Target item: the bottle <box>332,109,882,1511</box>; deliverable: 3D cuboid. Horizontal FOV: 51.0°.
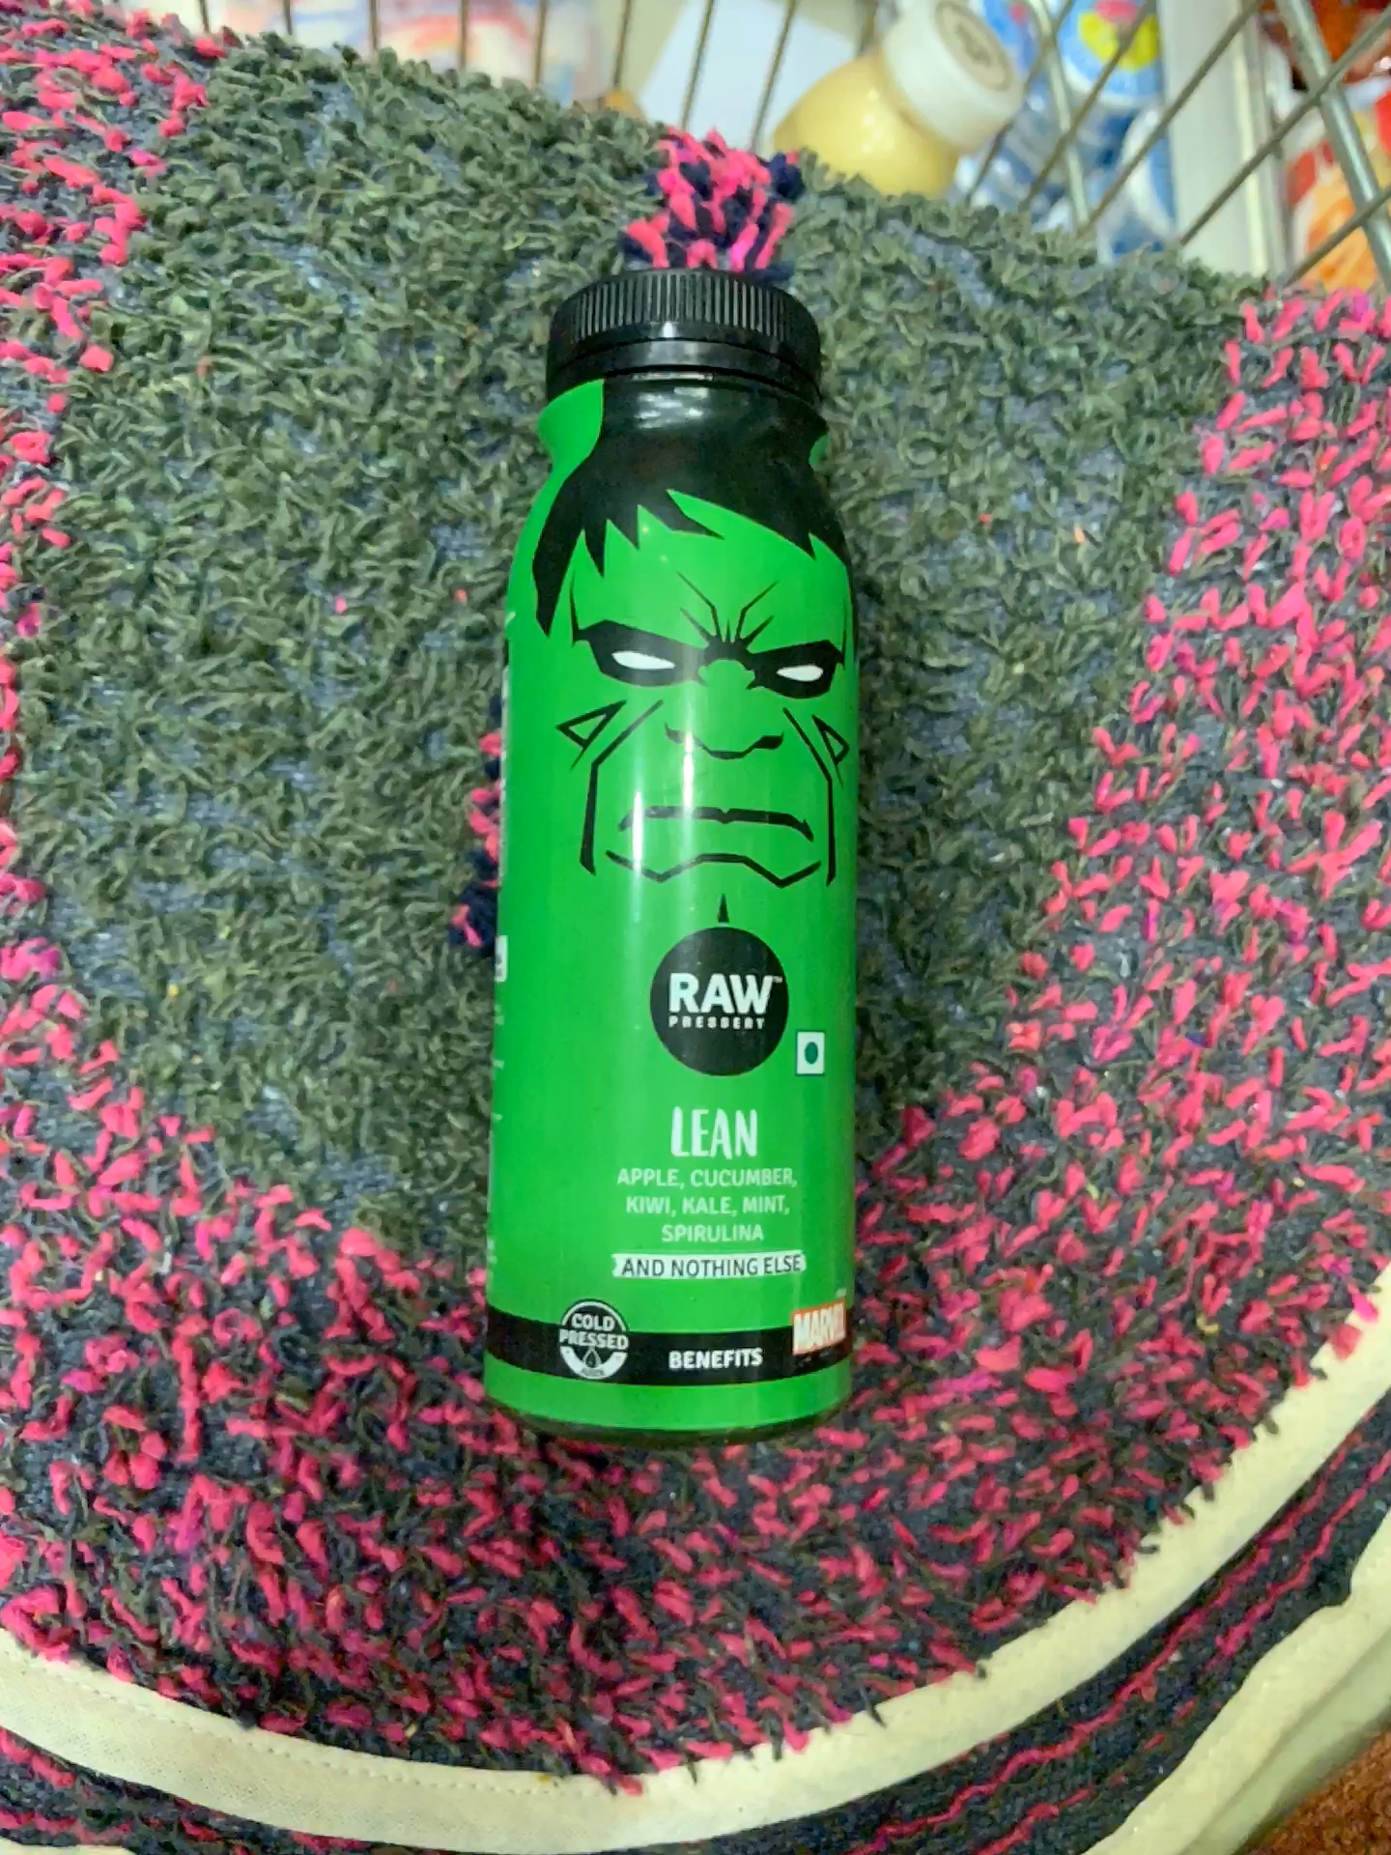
[{"bbox_3d":[-0.013,-0.014,0.193,0.060,0.050,0.160,1,83,-9],"label":"bottle"}]
